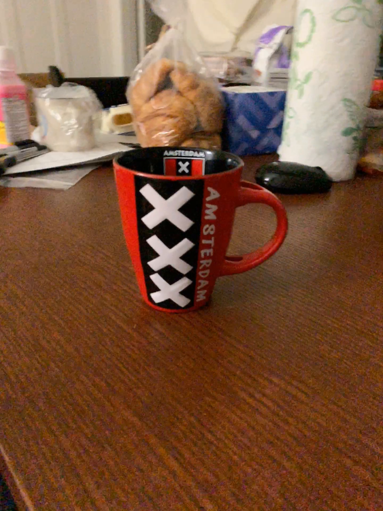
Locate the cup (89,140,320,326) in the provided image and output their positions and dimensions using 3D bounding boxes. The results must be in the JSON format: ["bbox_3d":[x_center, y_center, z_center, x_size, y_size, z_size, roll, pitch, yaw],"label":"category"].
[{"bbox_3d":[0.008,-0.022,0.283,0.130,0.099,0.090,3,26,3],"label":"cup"}]
